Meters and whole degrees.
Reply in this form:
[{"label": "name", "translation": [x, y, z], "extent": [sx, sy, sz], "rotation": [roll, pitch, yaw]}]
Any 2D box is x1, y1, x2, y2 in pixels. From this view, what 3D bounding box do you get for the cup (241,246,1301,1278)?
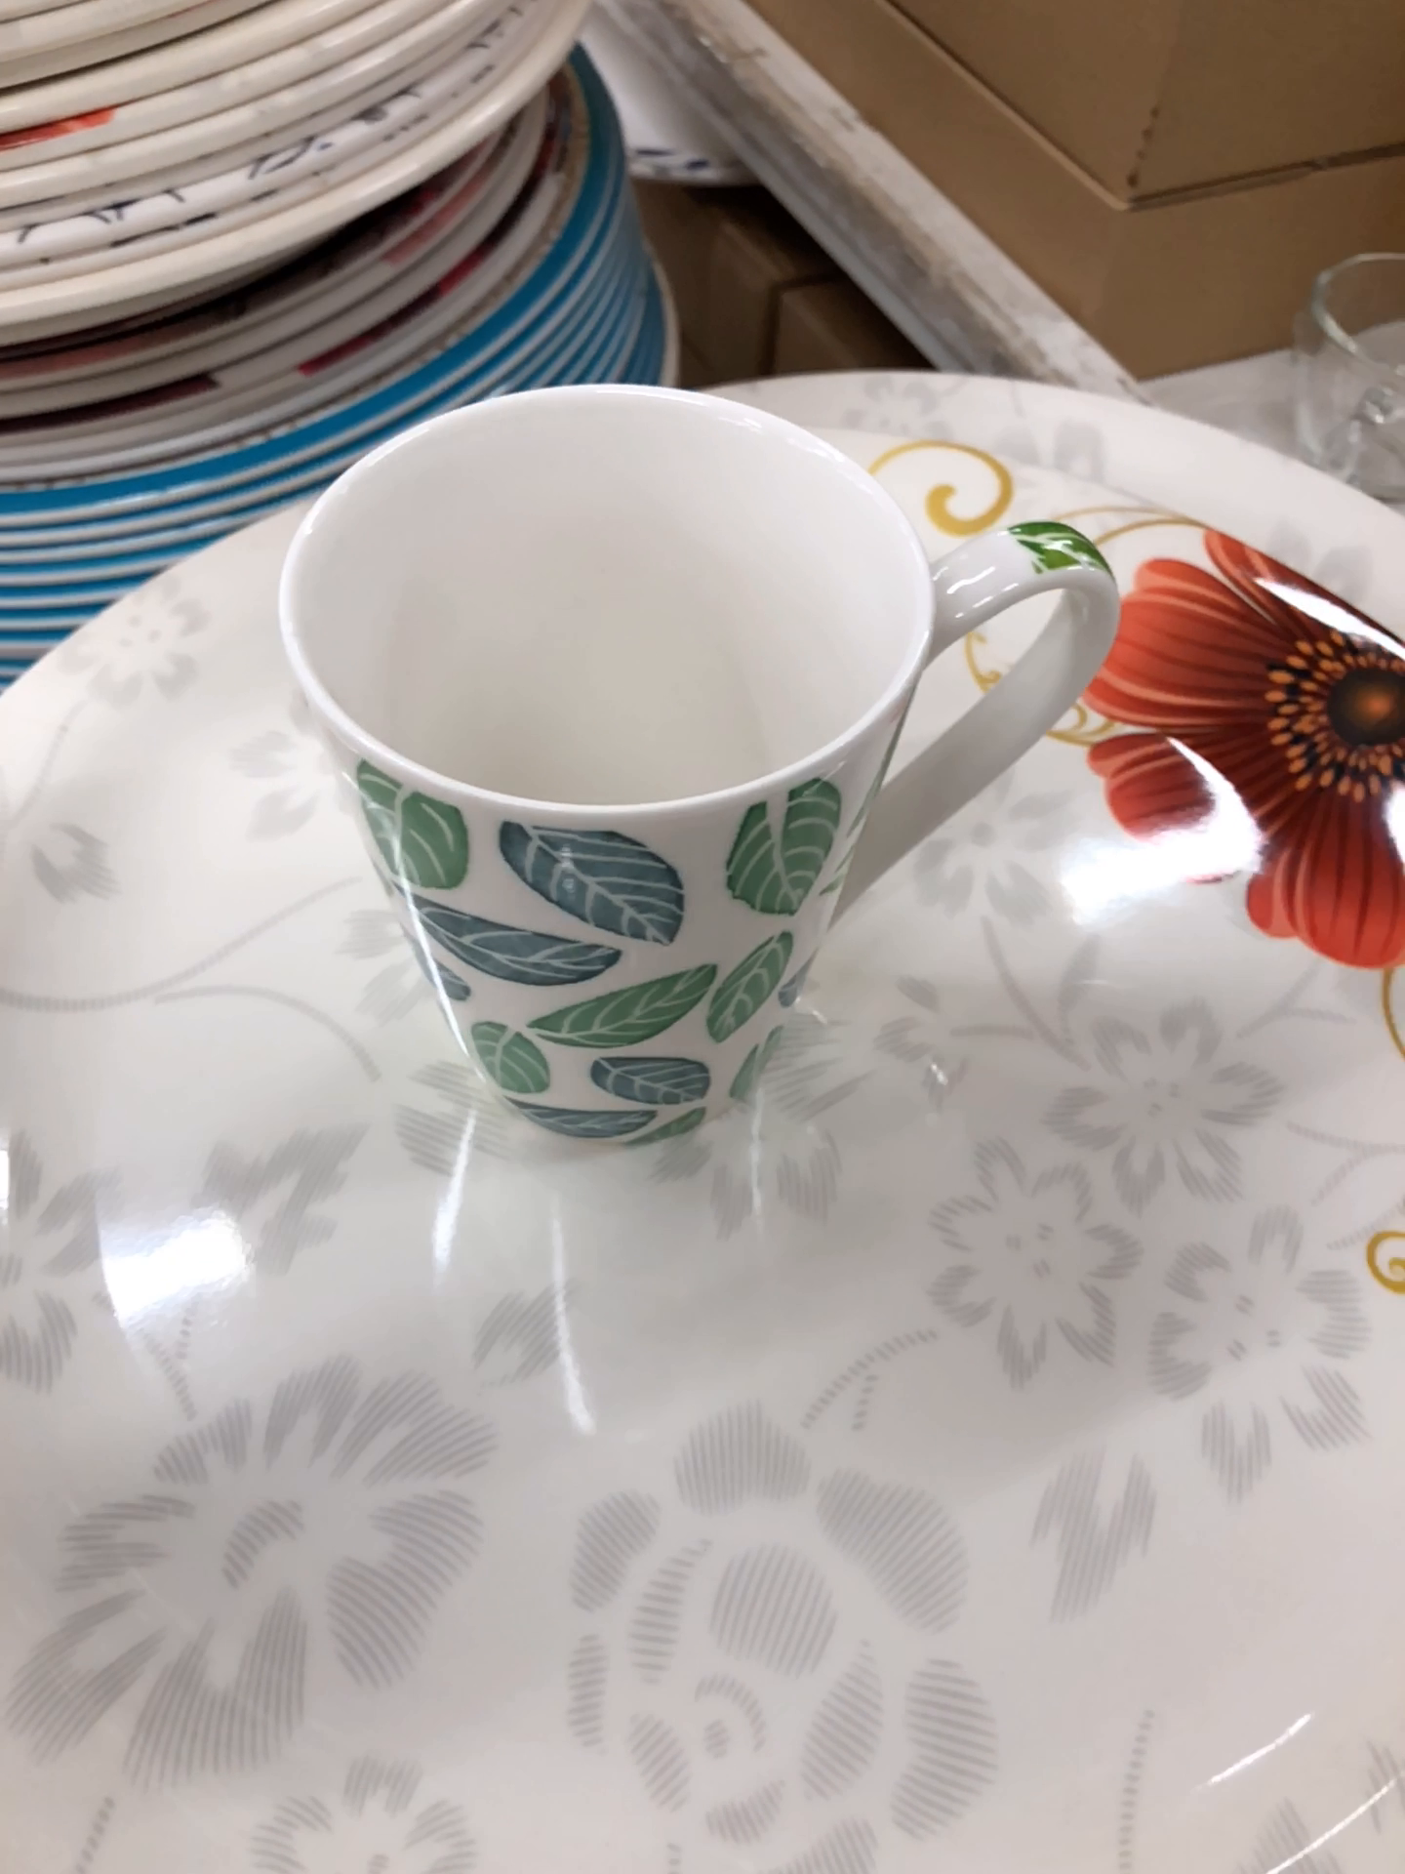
[{"label": "cup", "translation": [0.005, -0.026, 0.260], "extent": [0.120, 0.119, 0.080], "rotation": [-20, 58, -17]}]
